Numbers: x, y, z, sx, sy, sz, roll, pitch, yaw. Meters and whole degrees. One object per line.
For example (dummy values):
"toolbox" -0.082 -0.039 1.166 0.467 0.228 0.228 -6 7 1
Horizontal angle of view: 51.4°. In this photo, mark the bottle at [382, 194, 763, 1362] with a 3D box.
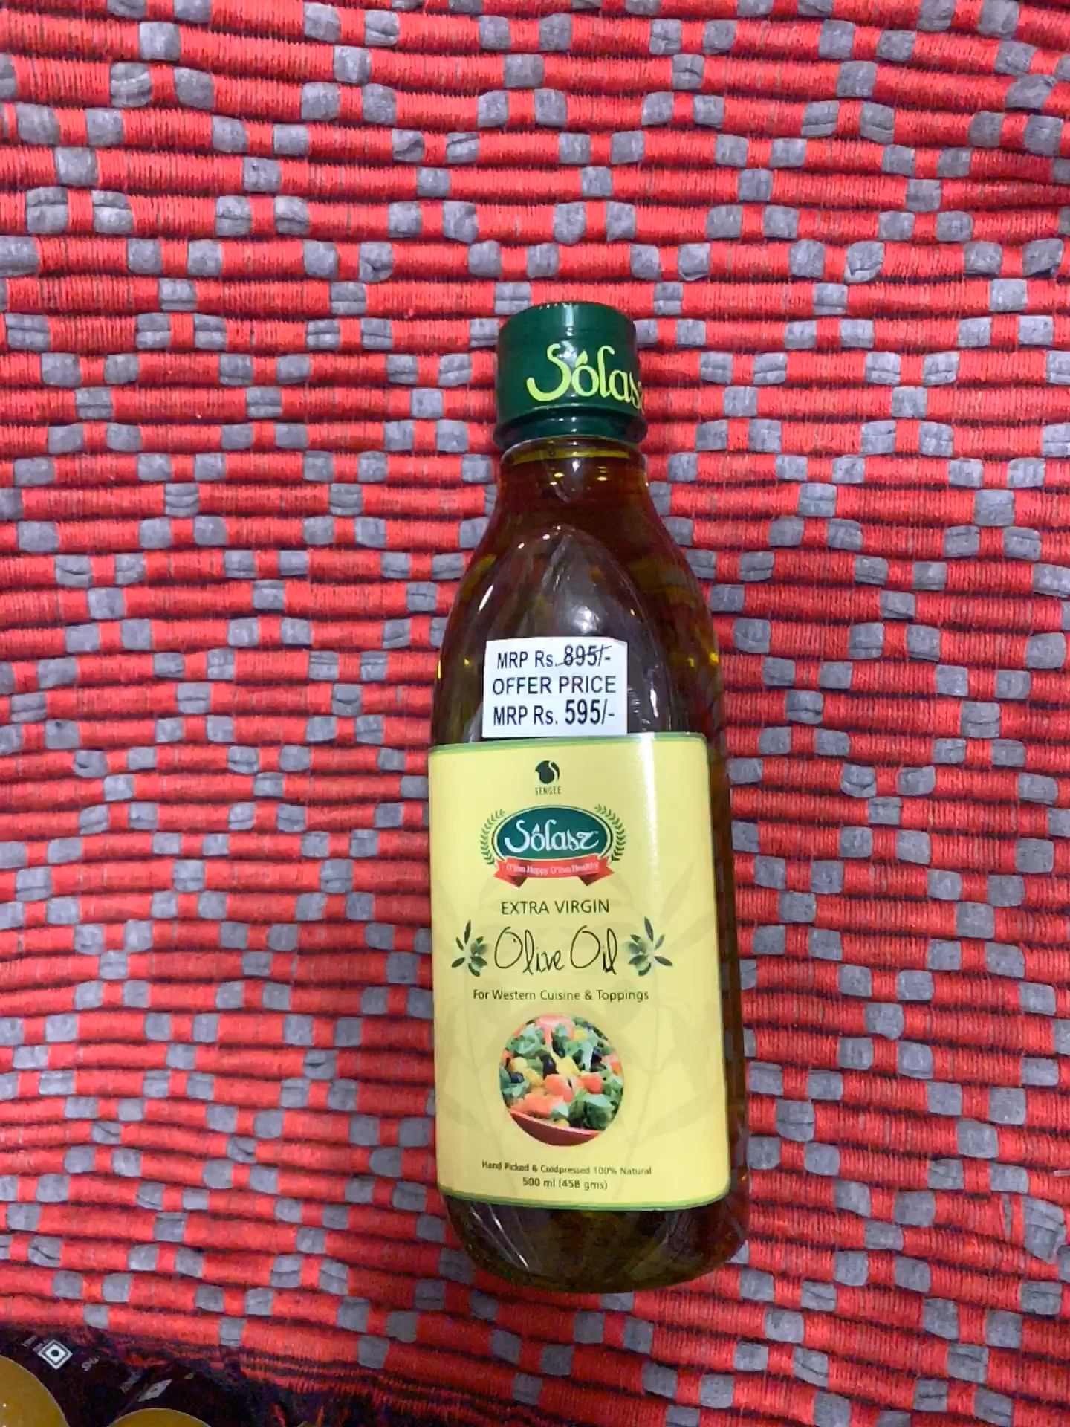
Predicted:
"bottle" 0.010 0.010 0.231 0.060 0.070 0.200 -3 81 14
